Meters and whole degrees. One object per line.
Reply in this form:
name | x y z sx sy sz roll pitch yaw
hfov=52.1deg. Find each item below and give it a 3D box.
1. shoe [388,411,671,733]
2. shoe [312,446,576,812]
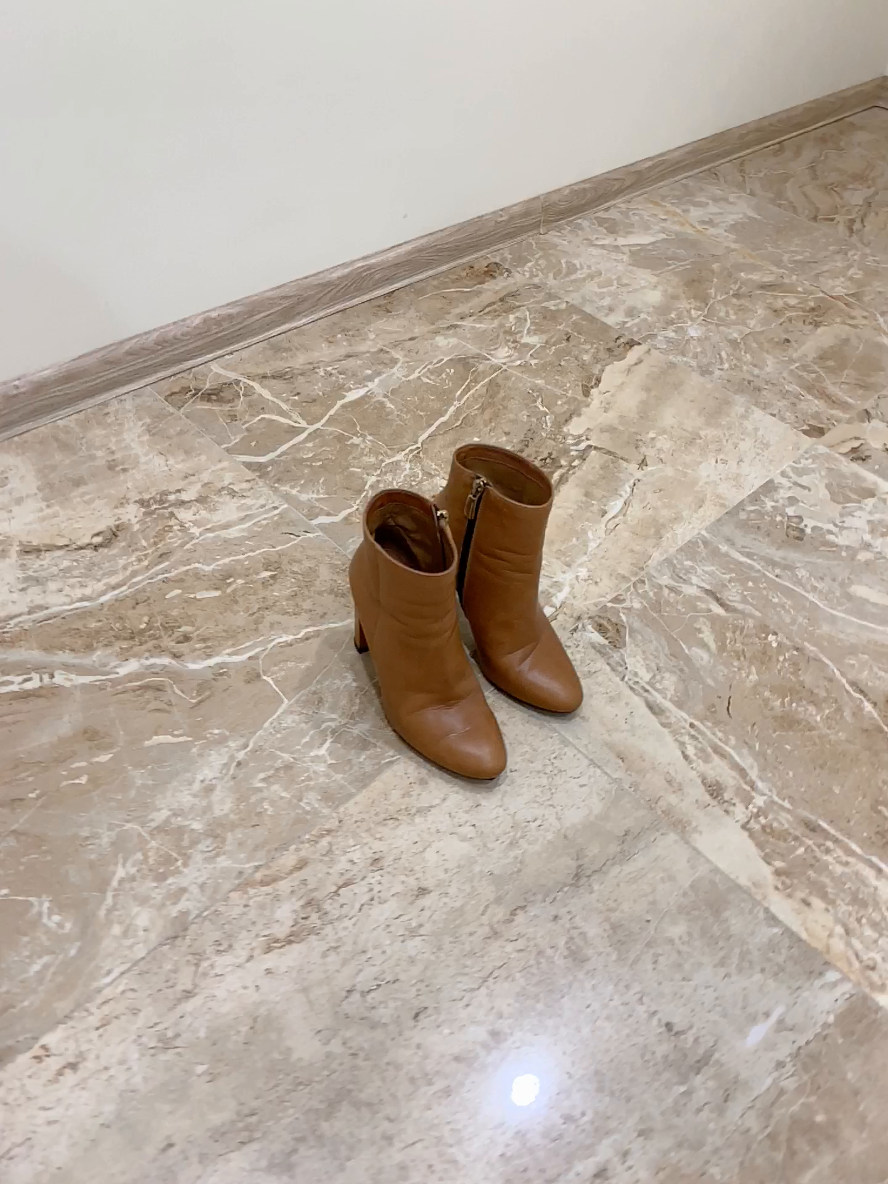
shoe | 0.061 -0.019 0.789 0.090 0.175 0.211 -33 59 -33
shoe | -0.015 0.028 0.745 0.090 0.185 0.221 -22 54 -27
